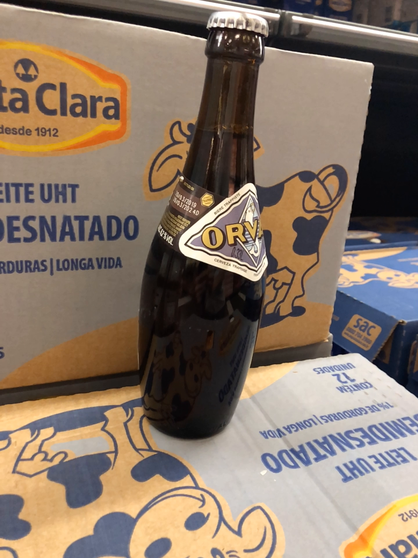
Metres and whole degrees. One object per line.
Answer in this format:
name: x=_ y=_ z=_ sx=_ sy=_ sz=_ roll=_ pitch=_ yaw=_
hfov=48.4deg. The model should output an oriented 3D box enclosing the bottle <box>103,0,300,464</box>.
bottle: x=-0.007 y=-0.023 z=0.243 sx=0.060 sy=0.209 sz=0.070 roll=15 pitch=20 yaw=34
